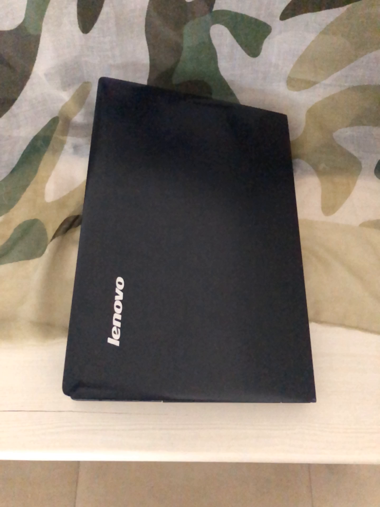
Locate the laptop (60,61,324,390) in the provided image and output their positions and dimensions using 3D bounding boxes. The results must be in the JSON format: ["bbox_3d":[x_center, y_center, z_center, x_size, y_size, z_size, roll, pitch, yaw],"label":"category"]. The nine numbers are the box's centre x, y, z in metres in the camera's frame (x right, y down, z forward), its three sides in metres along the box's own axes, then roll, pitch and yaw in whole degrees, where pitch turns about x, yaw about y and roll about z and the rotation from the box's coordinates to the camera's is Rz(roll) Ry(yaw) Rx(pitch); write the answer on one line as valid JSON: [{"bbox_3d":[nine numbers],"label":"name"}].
[{"bbox_3d":[0.008,-0.047,0.497,0.249,0.059,0.386,3,67,-5],"label":"laptop"}]
